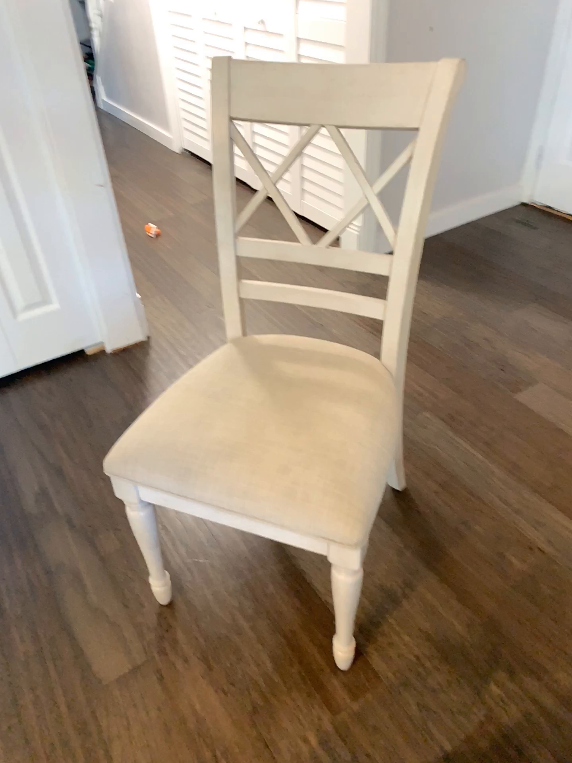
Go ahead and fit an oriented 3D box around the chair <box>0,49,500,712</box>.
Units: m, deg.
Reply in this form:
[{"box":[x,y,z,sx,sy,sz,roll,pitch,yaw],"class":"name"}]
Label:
[{"box":[-0.007,-0.021,1.074,0.531,0.924,0.653,13,41,19],"class":"chair"}]
